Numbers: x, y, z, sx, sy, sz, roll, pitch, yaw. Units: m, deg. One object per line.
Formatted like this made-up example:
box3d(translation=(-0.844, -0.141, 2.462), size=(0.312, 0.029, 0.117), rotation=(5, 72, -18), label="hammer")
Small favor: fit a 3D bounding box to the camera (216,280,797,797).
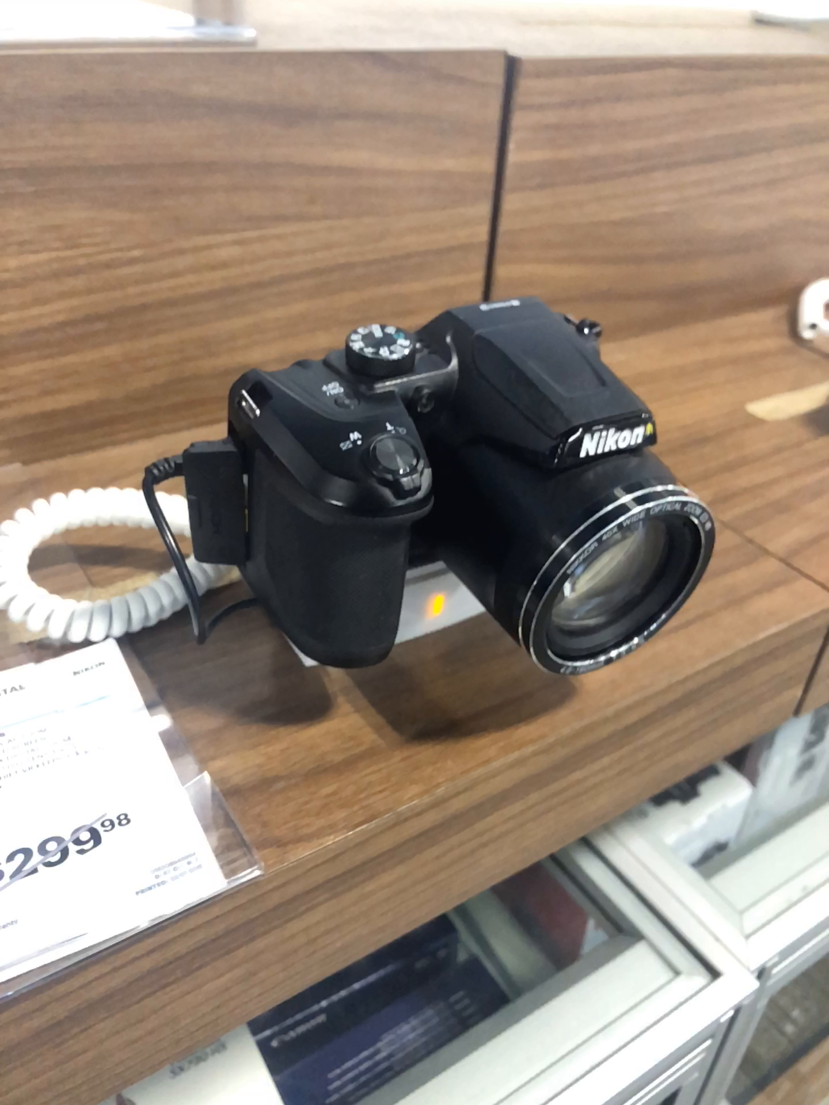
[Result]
box3d(translation=(0.019, -0.014, 0.253), size=(0.110, 0.079, 0.096), rotation=(-17, 39, -29), label="camera")
